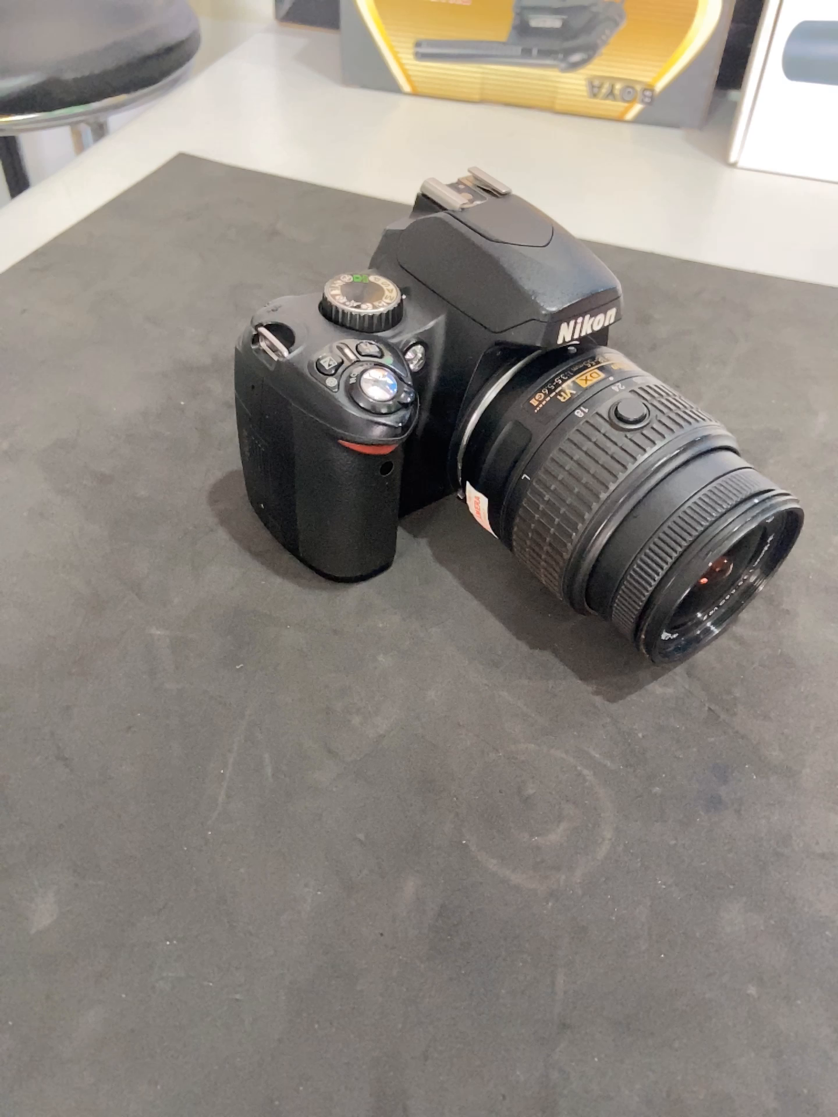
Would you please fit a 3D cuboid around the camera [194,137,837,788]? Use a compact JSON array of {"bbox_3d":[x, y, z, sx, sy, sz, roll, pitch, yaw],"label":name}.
[{"bbox_3d":[0.031,-0.040,0.256,0.130,0.088,0.140,-28,56,-28],"label":"camera"}]
